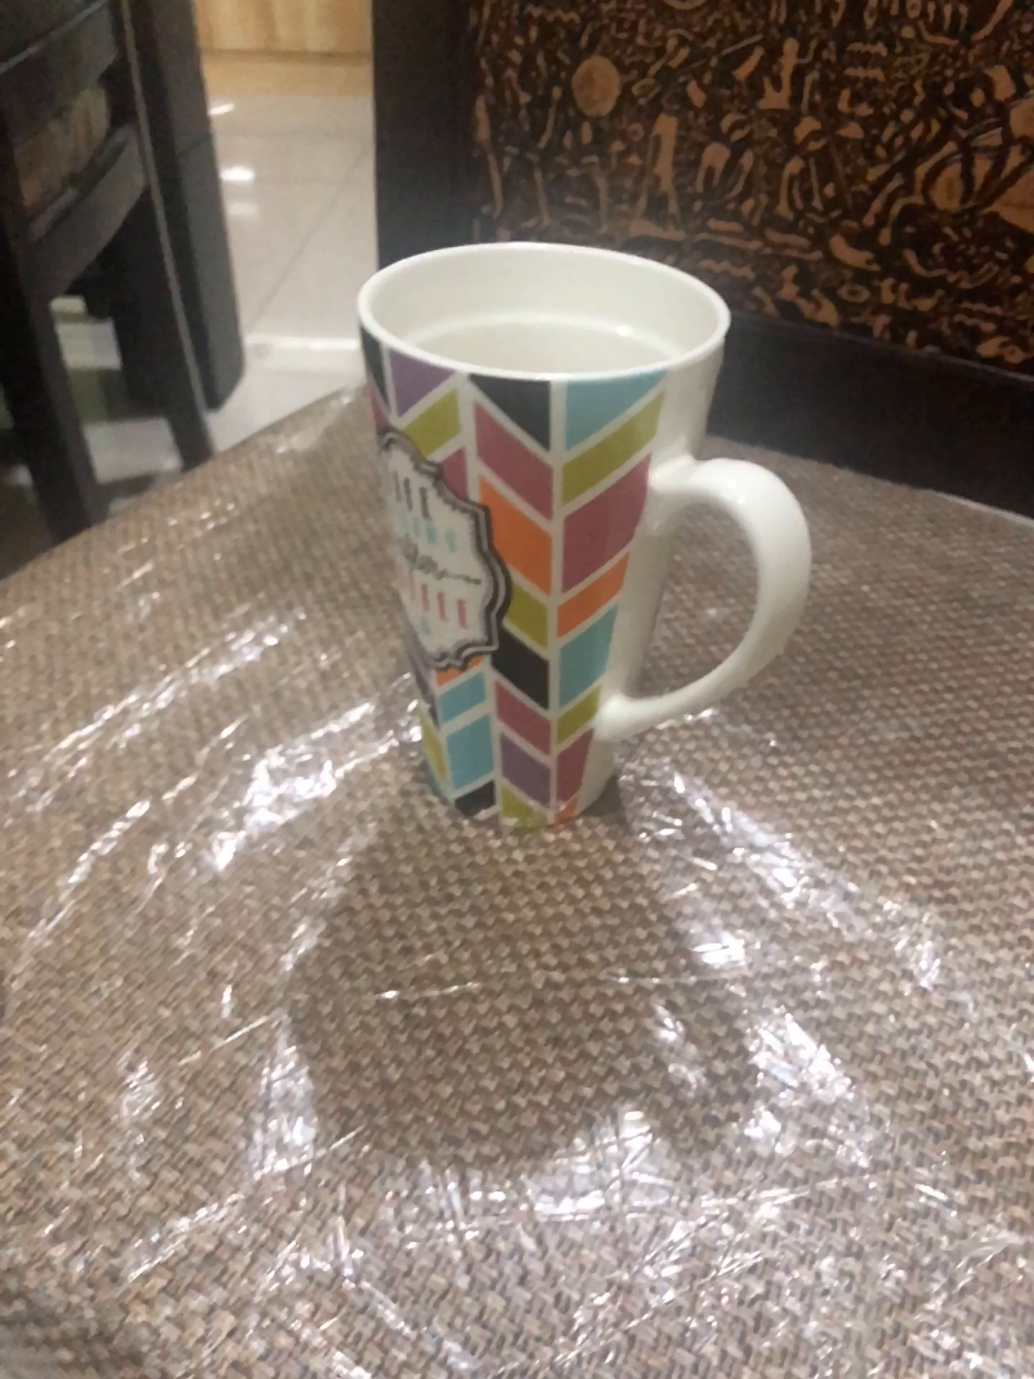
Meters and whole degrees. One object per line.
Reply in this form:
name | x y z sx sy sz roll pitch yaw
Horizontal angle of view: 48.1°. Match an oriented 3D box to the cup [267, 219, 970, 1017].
cup | 0.015 -0.025 0.298 0.090 0.139 0.130 -25 46 -32
